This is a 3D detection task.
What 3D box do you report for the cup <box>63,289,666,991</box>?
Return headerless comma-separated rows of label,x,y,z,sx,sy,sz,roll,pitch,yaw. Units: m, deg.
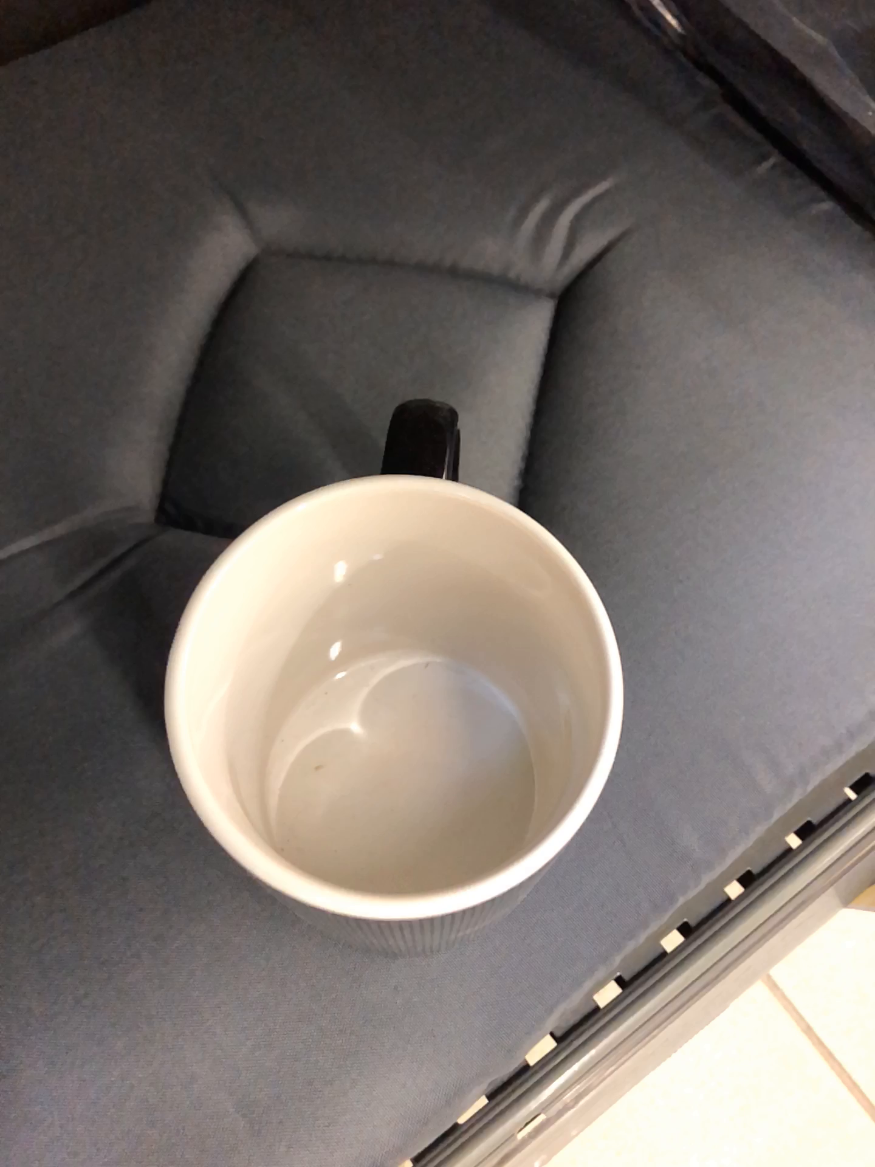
cup,-0.006,0.019,0.218,0.090,0.100,0.120,6,66,3
